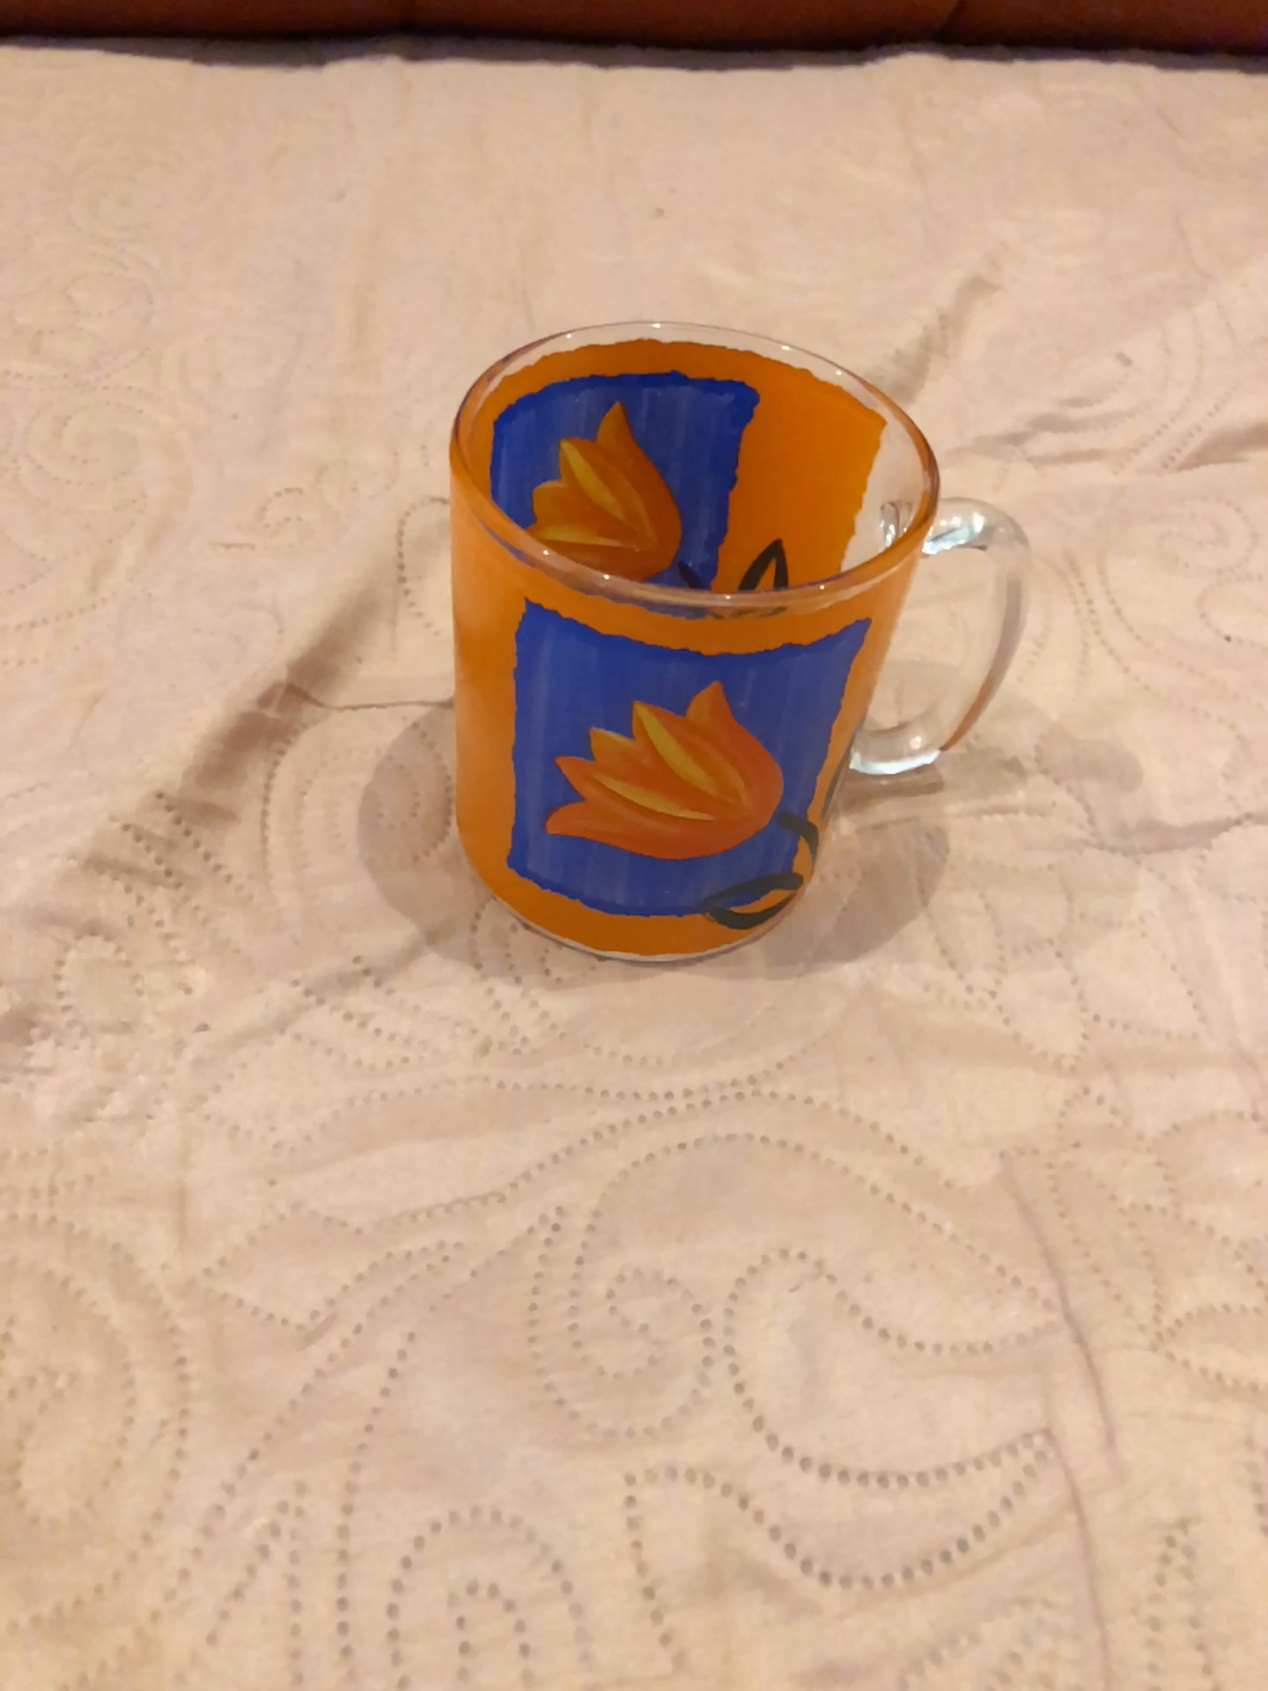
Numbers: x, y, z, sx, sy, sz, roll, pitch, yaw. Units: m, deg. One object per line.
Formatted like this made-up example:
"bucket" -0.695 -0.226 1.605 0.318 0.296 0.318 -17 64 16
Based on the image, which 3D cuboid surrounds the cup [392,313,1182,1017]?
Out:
"cup" 0.017 -0.033 0.258 0.110 0.089 0.080 -5 51 -10
